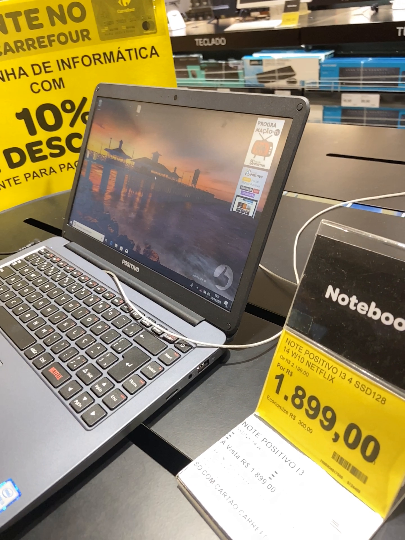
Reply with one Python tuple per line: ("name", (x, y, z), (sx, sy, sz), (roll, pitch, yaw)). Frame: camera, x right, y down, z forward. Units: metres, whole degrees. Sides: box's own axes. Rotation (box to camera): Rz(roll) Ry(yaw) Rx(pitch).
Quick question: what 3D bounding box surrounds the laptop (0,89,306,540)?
("laptop", (-0.141, -0.038, 0.405), (0.342, 0.172, 0.333), (-33, 40, -31))
